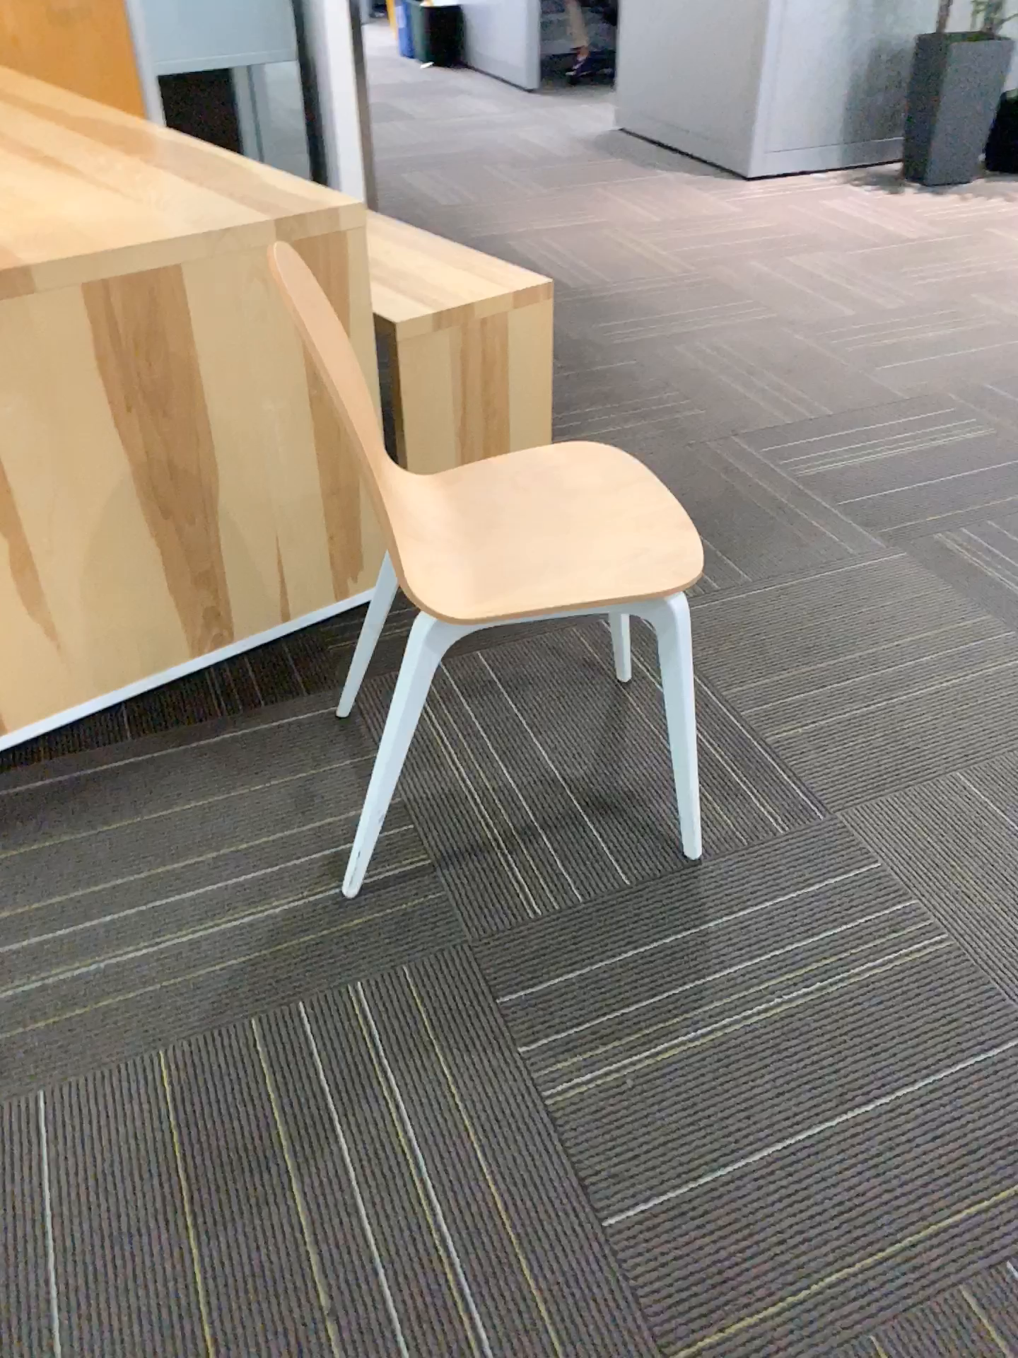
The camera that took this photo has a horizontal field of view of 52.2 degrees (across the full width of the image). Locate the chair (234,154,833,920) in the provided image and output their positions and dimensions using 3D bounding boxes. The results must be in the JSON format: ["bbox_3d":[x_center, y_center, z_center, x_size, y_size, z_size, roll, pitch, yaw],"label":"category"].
[{"bbox_3d":[-0.016,-0.195,1.416,0.560,0.815,0.554,-7,39,-8],"label":"chair"}]
